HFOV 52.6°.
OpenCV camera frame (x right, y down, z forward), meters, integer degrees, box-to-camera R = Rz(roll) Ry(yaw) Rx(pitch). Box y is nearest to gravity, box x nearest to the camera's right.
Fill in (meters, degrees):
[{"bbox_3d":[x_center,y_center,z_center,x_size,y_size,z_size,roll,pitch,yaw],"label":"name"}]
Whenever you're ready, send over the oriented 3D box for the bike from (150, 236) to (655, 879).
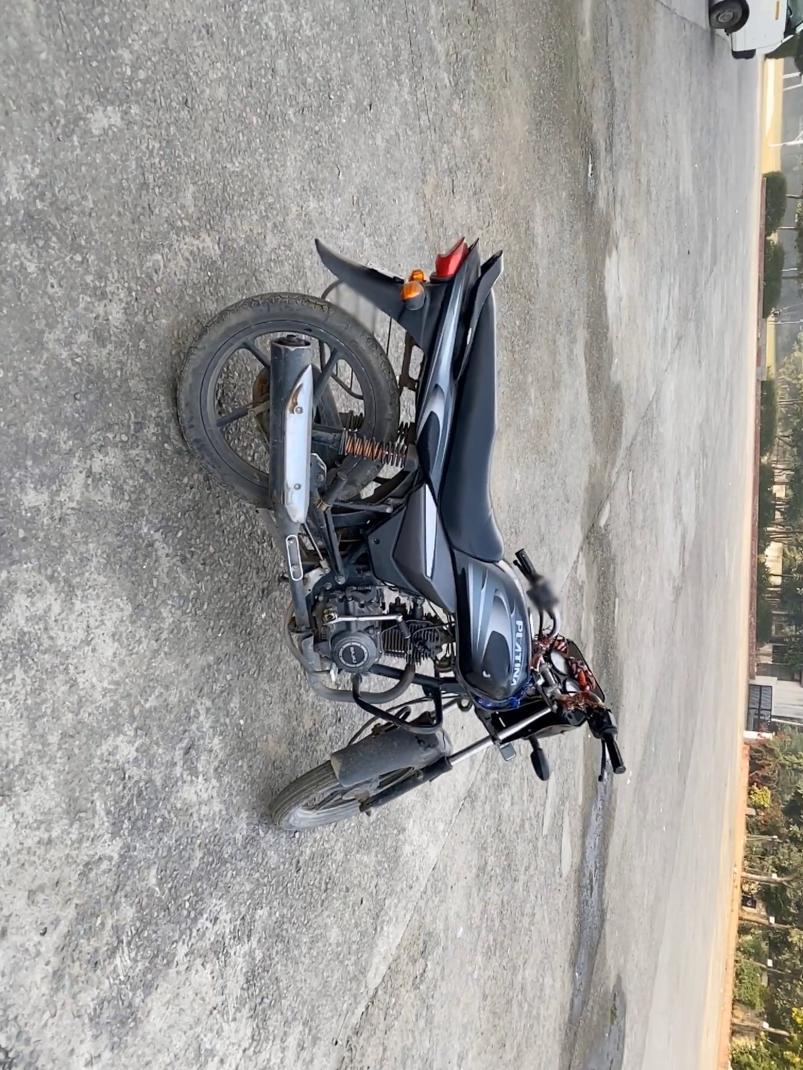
[{"bbox_3d":[0.162,0.083,2.525,0.774,1.078,1.741,-52,139,-52],"label":"bike"}]
